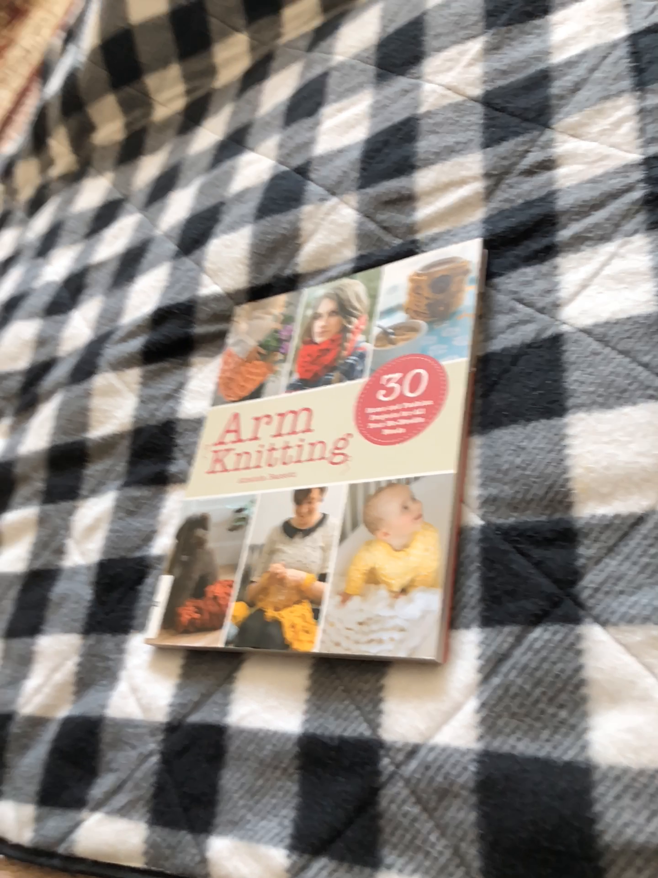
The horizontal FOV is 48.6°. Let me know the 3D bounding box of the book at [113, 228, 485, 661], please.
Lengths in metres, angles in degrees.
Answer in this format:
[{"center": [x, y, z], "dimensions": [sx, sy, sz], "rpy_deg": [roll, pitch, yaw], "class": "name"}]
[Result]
[{"center": [-0.016, 0.000, 0.424], "dimensions": [0.196, 0.020, 0.238], "rpy_deg": [-8, 57, 35], "class": "book"}]
